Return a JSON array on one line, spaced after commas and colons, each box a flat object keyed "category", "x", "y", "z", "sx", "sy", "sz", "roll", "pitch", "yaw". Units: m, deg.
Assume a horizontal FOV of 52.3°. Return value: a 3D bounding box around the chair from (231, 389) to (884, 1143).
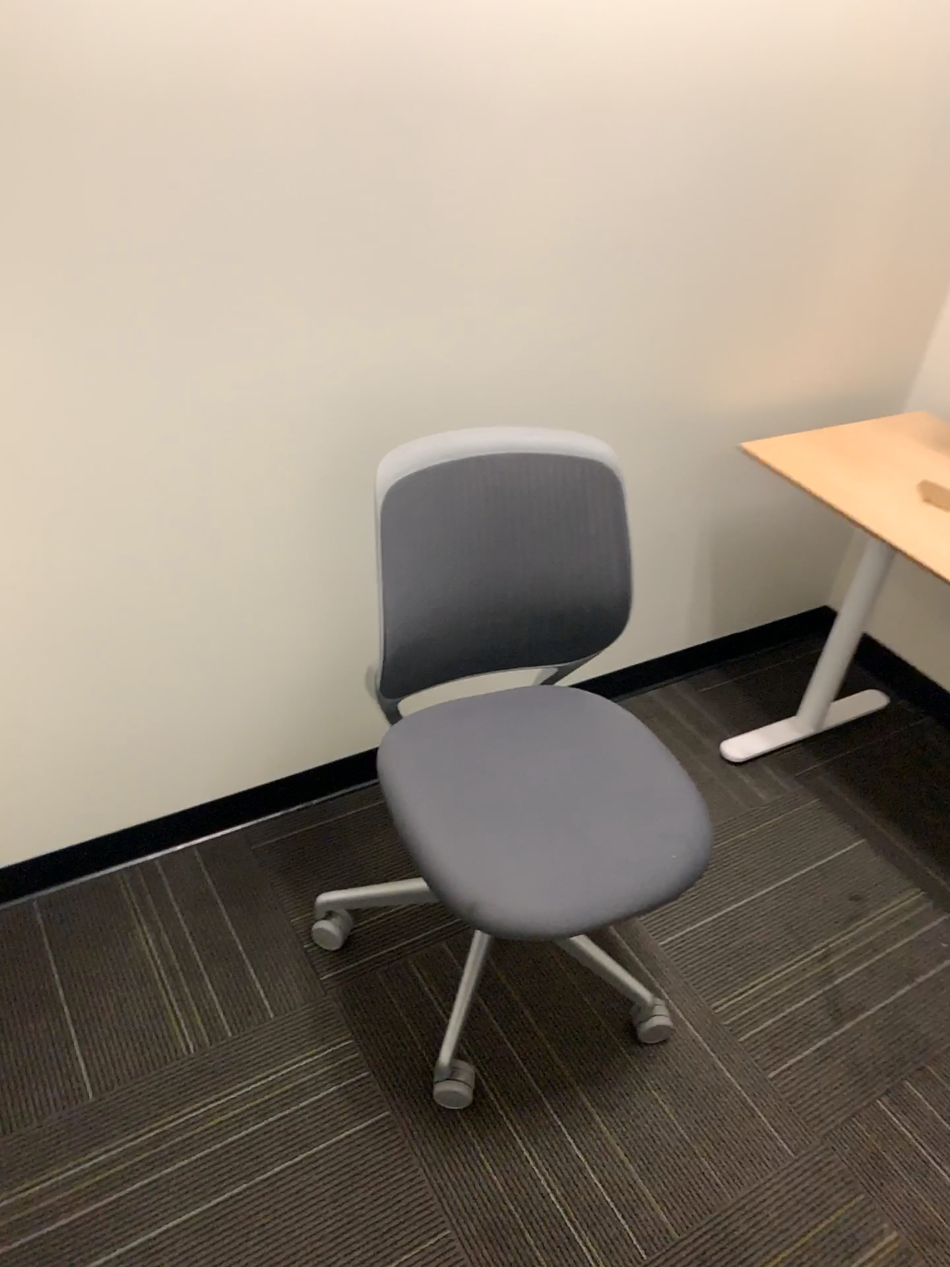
[{"category": "chair", "x": 0.012, "y": 0.167, "z": 1.782, "sx": 0.720, "sy": 0.885, "sz": 0.905, "roll": -8, "pitch": 39, "yaw": -21}]
